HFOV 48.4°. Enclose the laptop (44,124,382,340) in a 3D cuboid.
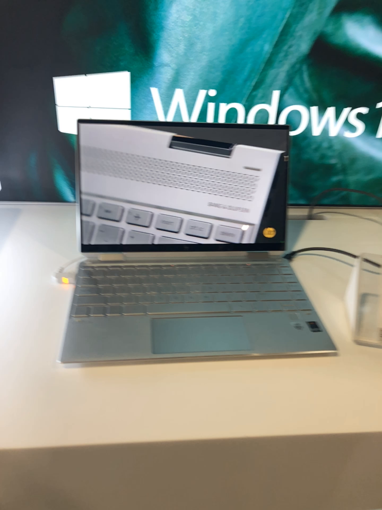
[{"bbox_3d":[0.003,-0.039,0.509,0.281,0.194,0.241,0,26,-8],"label":"laptop"}]
